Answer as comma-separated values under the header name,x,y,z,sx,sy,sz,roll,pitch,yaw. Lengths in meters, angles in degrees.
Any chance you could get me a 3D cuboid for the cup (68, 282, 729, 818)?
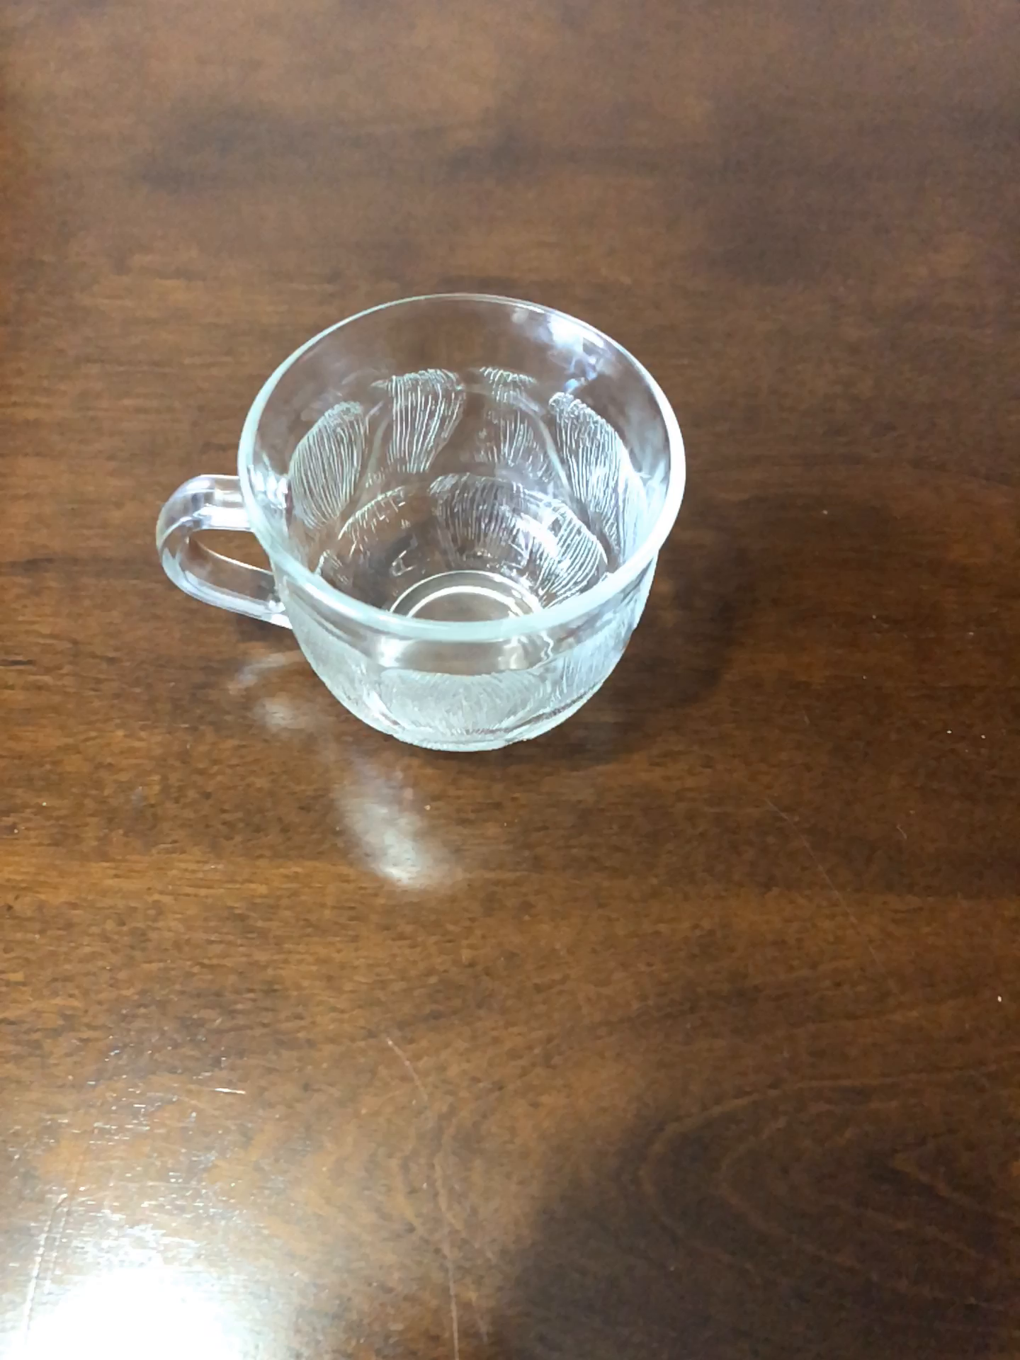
name,x,y,z,sx,sy,sz,roll,pitch,yaw
cup,-0.015,-0.024,0.214,0.100,0.050,0.080,4,60,0
